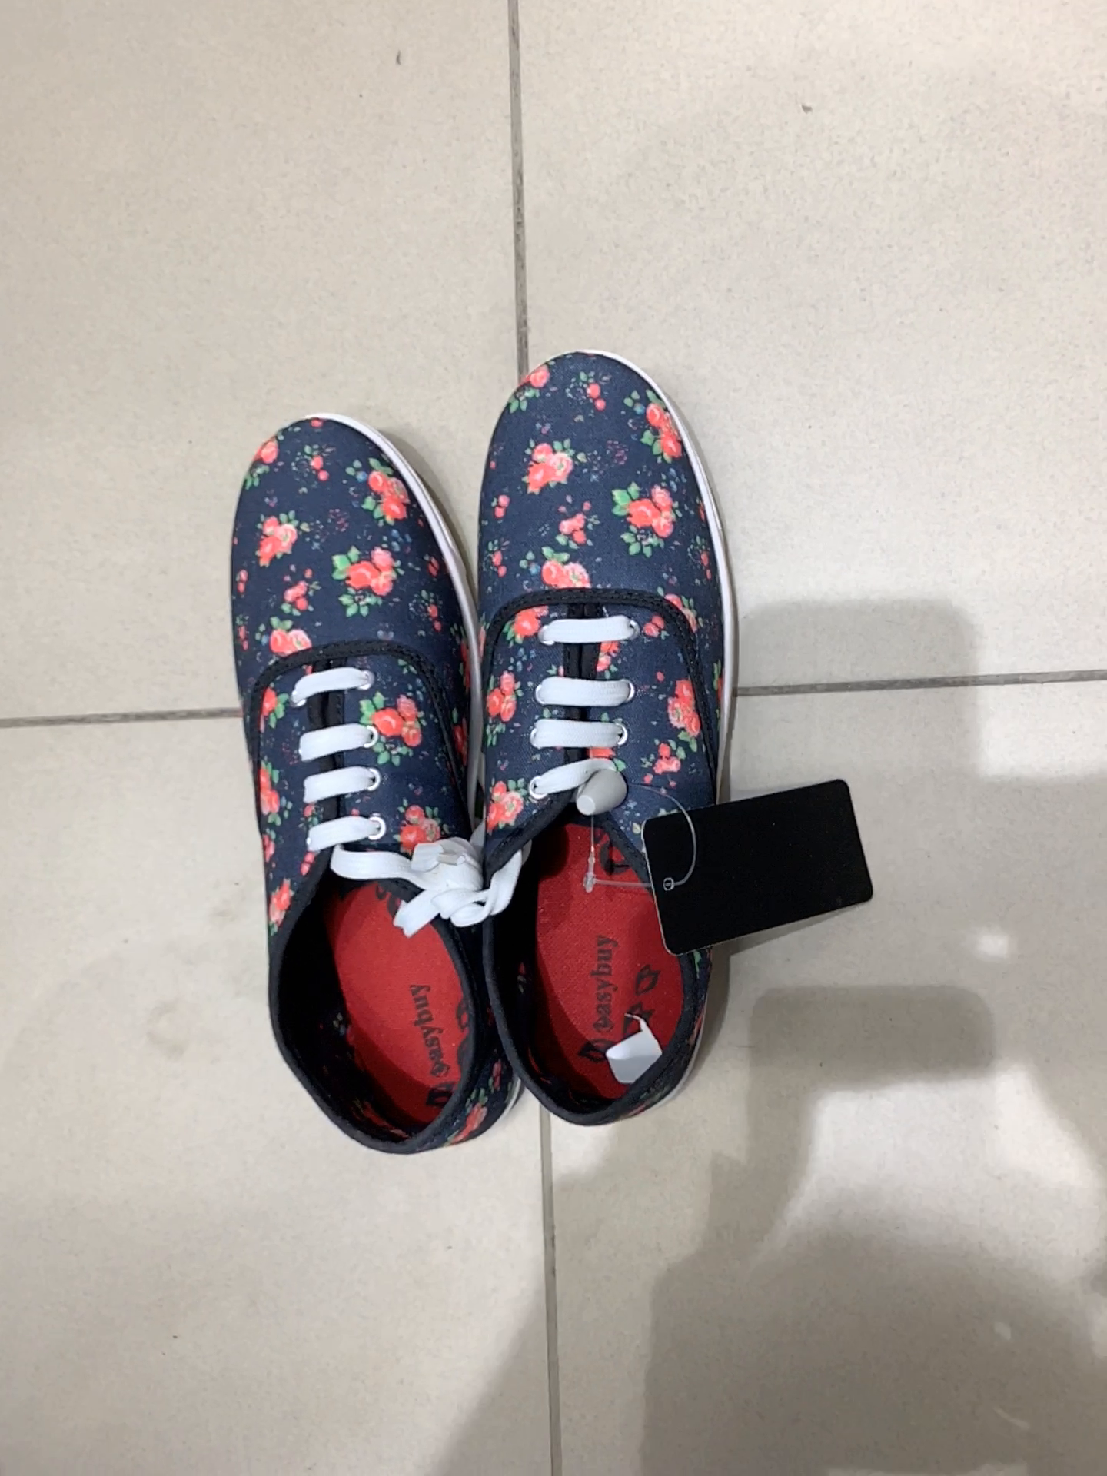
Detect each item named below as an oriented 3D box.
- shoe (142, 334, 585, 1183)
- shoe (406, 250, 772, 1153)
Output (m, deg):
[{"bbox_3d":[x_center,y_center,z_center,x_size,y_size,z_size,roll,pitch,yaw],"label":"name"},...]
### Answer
[{"bbox_3d":[-0.066,0.009,0.420,0.100,0.080,0.270,-10,86,11],"label":"shoe"},{"bbox_3d":[0.016,-0.009,0.389,0.100,0.080,0.270,-3,87,12],"label":"shoe"}]
